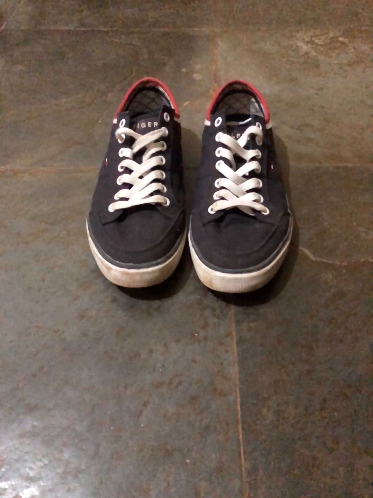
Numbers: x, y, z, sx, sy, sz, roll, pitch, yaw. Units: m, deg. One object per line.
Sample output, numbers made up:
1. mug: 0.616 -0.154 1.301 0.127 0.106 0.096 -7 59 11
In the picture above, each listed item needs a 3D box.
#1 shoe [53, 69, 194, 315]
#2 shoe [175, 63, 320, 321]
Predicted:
1. shoe: -0.049 -0.080 0.454 0.110 0.099 0.292 -1 50 1
2. shoe: 0.057 -0.082 0.448 0.110 0.099 0.302 2 50 3
